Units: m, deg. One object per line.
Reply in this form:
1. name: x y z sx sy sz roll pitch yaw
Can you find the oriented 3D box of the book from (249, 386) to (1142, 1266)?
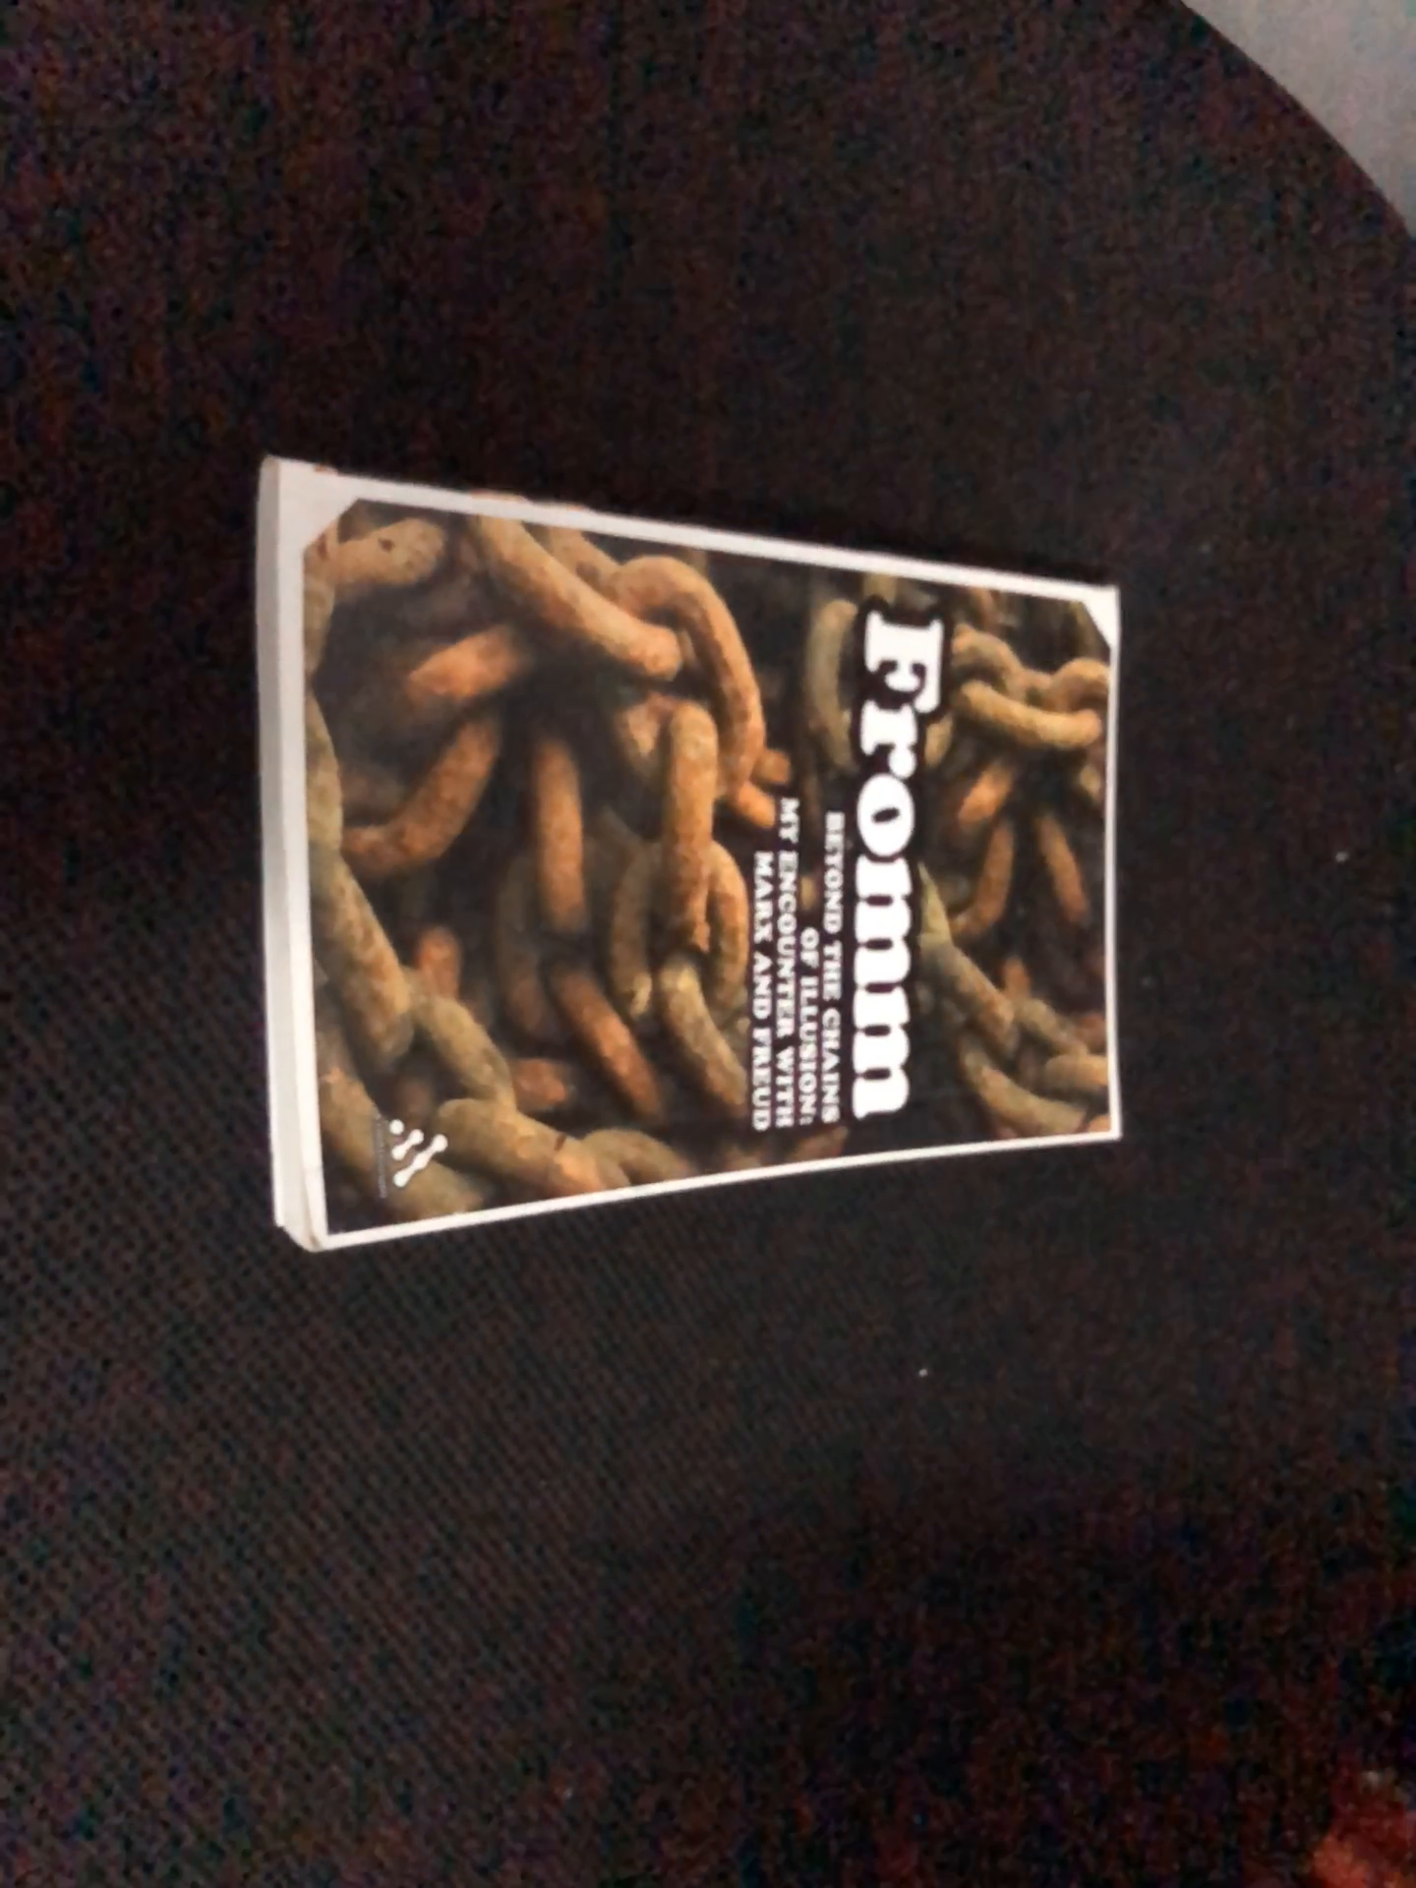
1. book: 0.009 -0.018 0.315 0.195 0.016 0.144 1 88 -31
